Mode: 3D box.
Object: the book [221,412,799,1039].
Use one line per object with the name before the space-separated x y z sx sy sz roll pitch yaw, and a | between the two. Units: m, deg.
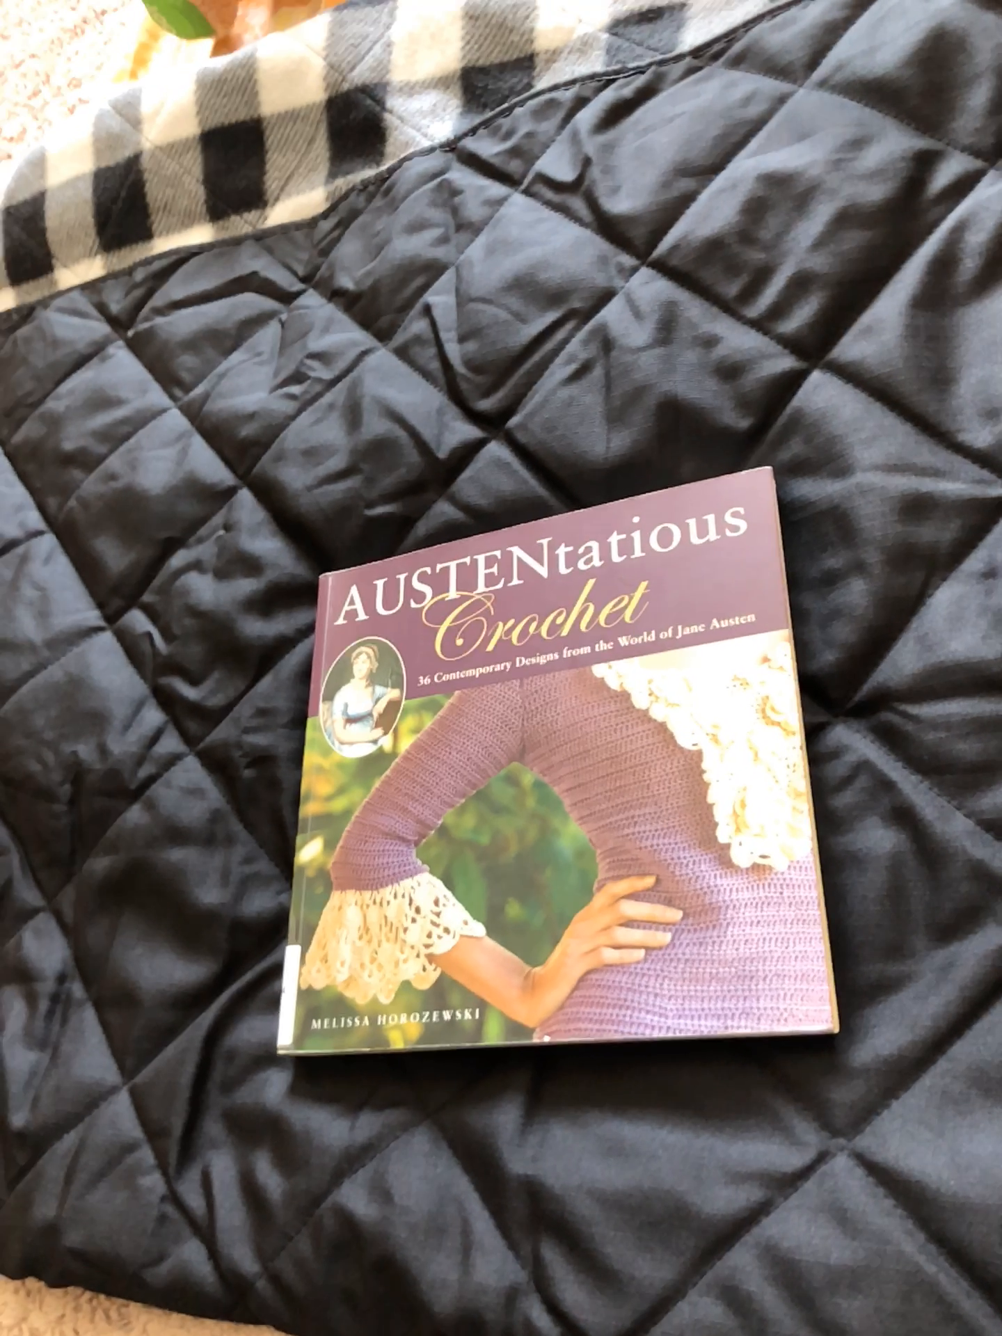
book | -0.004 0.024 0.446 0.220 0.020 0.230 -11 61 24
